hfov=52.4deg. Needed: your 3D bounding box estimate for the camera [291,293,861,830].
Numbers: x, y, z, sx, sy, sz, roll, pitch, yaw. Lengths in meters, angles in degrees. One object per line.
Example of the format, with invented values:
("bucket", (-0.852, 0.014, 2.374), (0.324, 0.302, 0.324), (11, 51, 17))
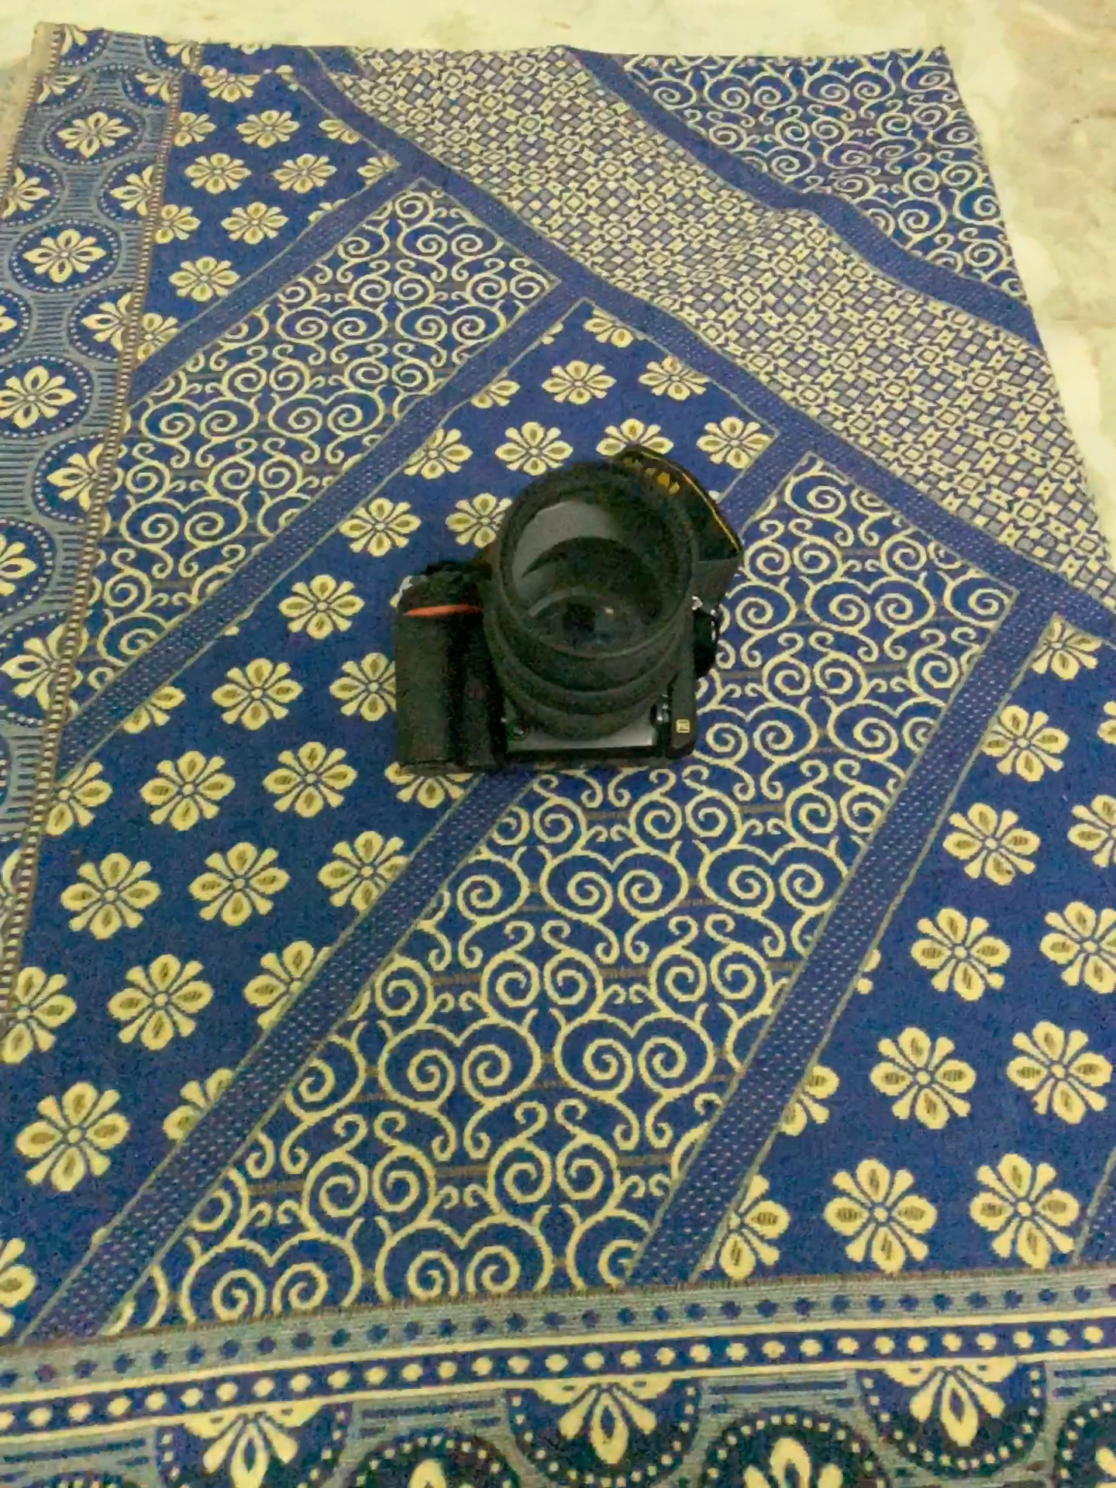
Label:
("camera", (0.002, -0.051, 0.427), (0.160, 0.191, 0.130), (-1, 75, -1))
